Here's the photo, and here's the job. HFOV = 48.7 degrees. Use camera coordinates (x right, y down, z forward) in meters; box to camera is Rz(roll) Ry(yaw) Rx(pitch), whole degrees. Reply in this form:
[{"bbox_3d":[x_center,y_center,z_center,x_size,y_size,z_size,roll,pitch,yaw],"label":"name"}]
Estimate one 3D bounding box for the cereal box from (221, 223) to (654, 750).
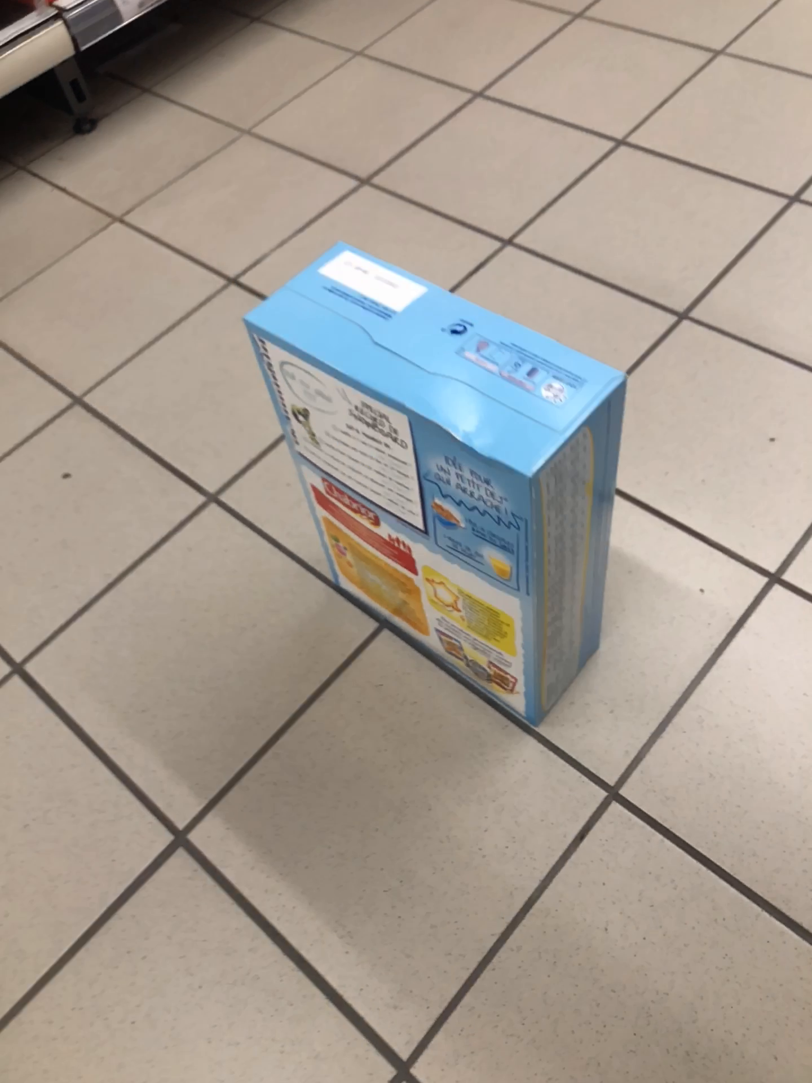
[{"bbox_3d":[0.024,-0.020,0.543,0.200,0.269,0.090,33,64,27],"label":"cereal box"}]
